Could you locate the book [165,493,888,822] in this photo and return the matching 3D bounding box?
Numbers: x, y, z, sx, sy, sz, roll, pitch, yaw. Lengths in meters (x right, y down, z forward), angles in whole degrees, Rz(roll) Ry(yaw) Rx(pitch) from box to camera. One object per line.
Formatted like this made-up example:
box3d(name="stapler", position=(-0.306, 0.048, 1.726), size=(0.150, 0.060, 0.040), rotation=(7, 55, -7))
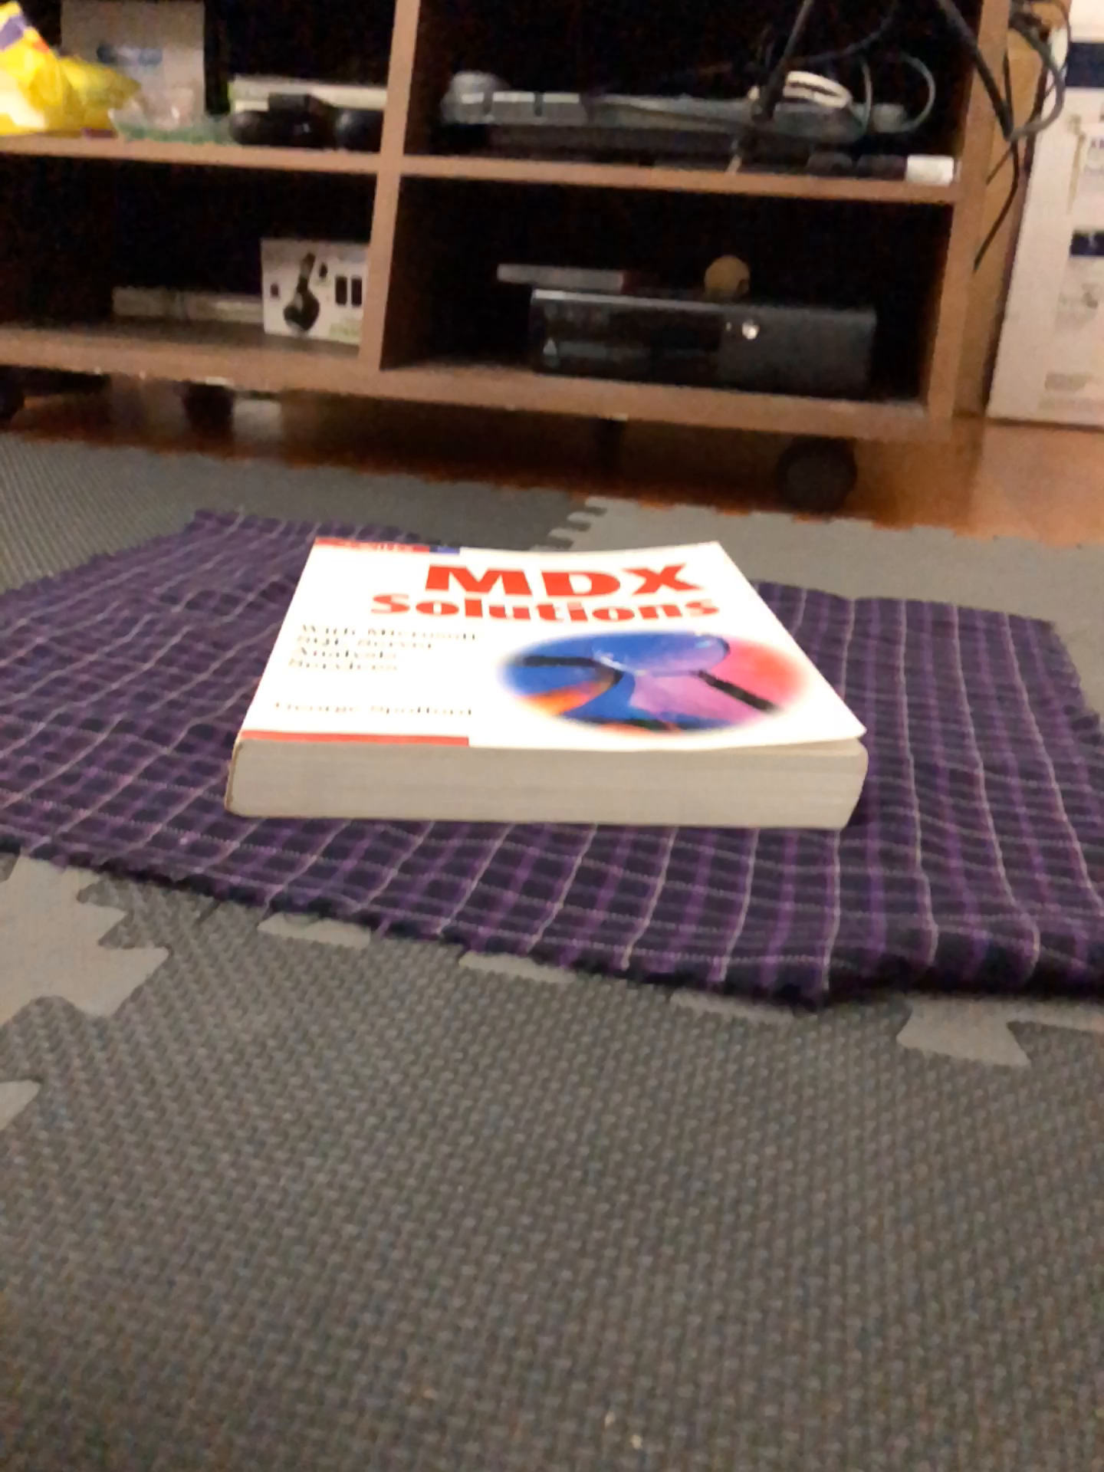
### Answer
box3d(name="book", position=(-0.017, -0.046, 0.500), size=(0.220, 0.050, 0.261), rotation=(1, 21, -6))
